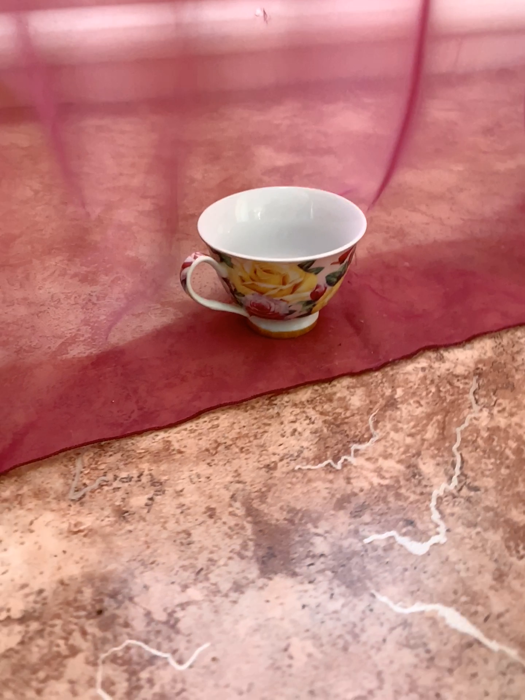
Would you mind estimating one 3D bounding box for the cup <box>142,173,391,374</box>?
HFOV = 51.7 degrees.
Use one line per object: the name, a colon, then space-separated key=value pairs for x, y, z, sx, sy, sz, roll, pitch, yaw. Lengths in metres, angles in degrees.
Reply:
cup: x=0.000 y=-0.048 z=0.306 sx=0.109 sy=0.060 sz=0.079 roll=-17 pitch=41 yaw=-19
